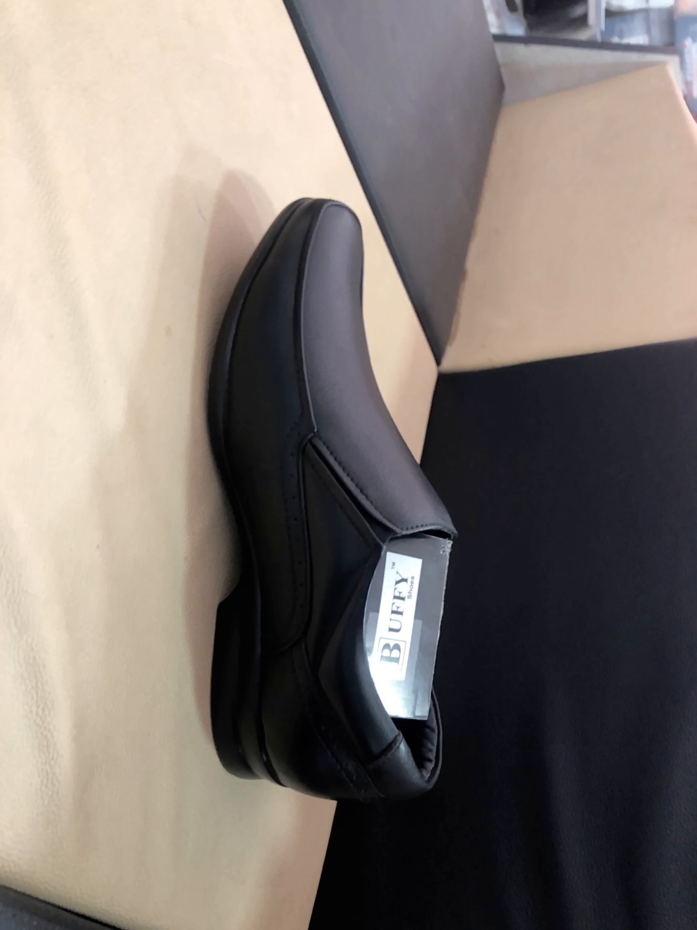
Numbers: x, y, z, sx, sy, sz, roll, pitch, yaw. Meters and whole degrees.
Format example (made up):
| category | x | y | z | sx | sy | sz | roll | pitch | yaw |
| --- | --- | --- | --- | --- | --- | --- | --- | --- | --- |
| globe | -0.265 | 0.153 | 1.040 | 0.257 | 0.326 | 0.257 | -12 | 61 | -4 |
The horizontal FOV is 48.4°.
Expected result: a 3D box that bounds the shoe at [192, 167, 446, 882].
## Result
| category | x | y | z | sx | sy | sz | roll | pitch | yaw |
| --- | --- | --- | --- | --- | --- | --- | --- | --- | --- |
| shoe | -0.005 | 0.023 | 0.368 | 0.111 | 0.069 | 0.280 | 16 | 73 | -63 |
